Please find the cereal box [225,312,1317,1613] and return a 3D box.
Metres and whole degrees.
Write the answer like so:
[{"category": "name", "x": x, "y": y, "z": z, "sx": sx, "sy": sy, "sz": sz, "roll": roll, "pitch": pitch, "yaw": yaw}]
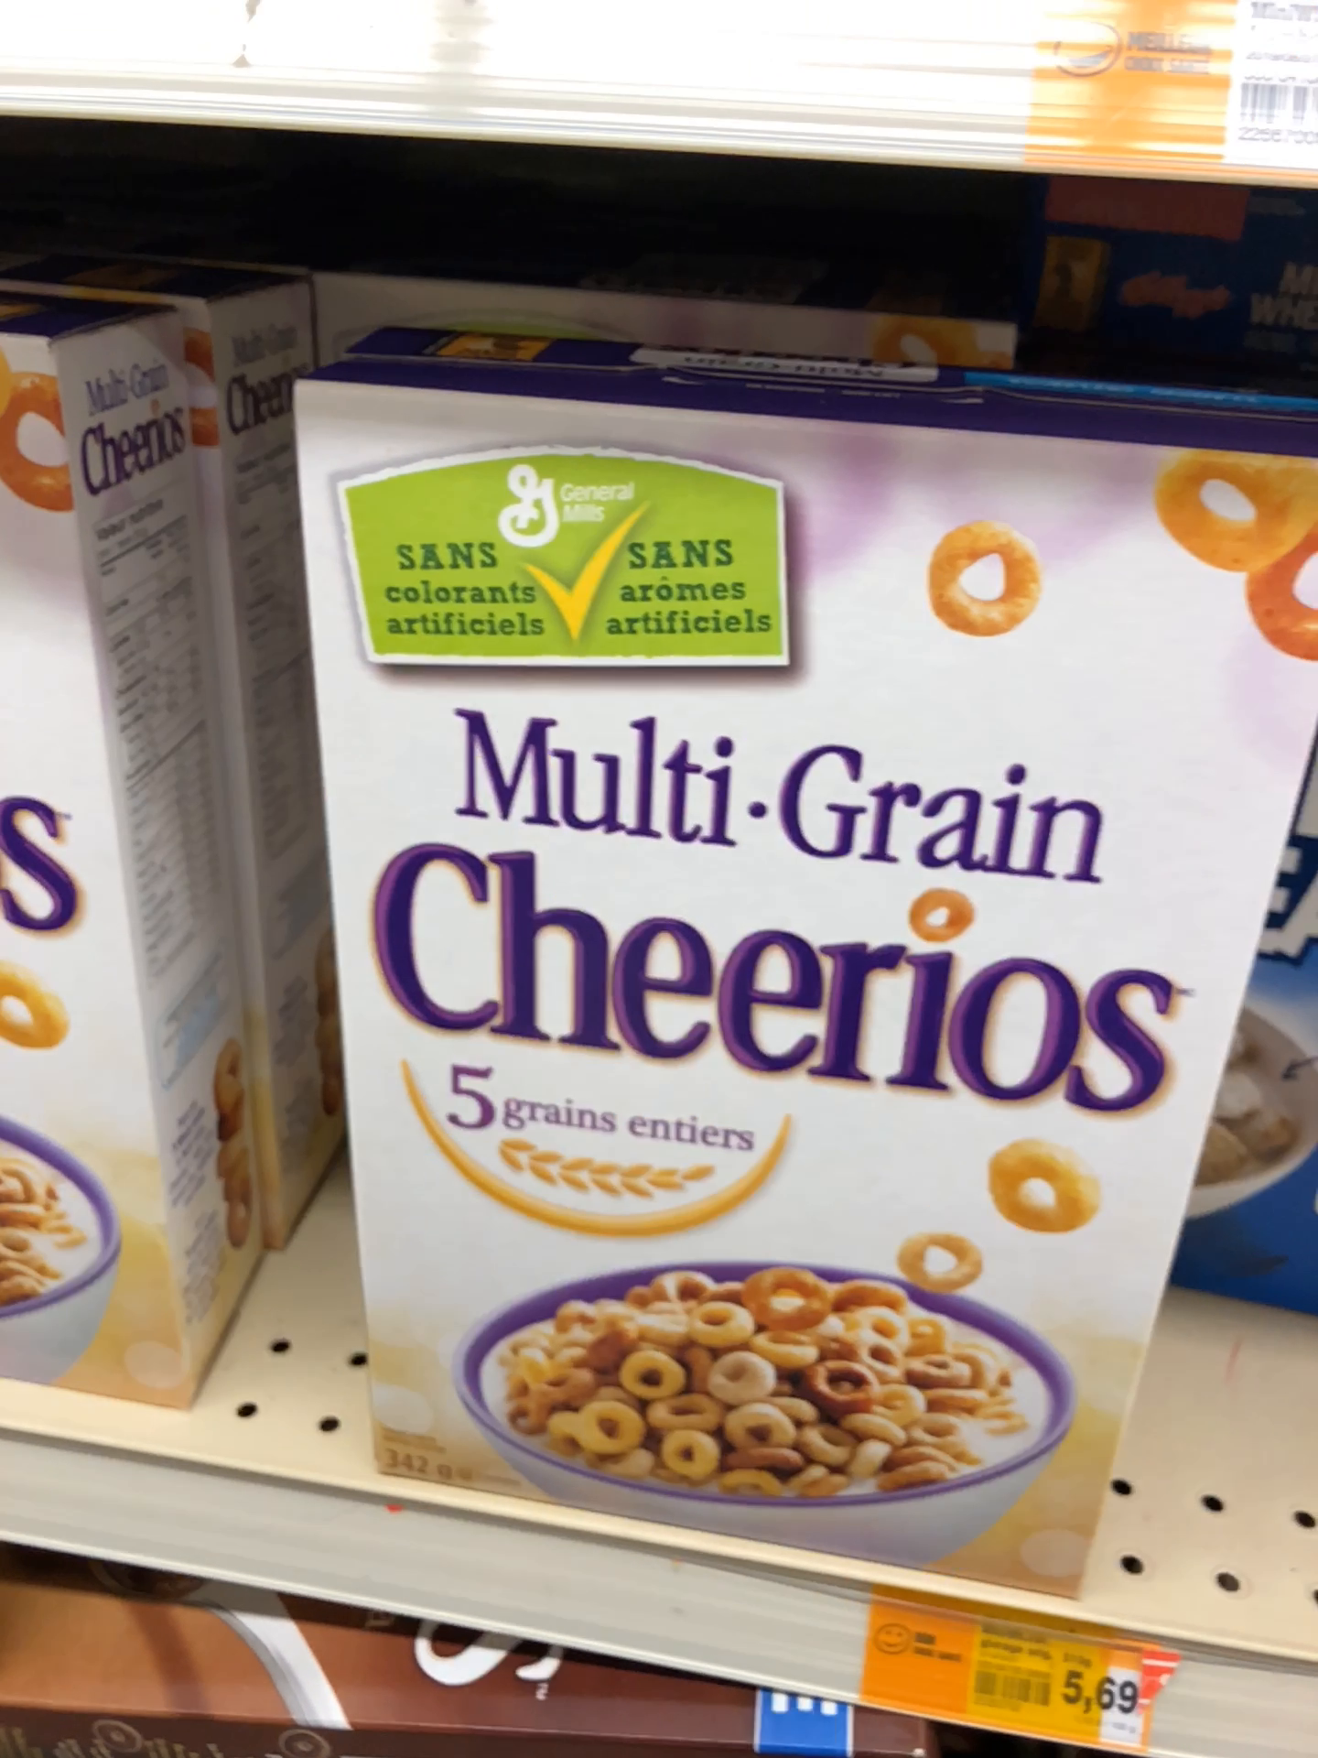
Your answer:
[{"category": "cereal box", "x": 0.022, "y": 0.031, "z": 0.334, "sx": 0.200, "sy": 0.278, "sz": 0.060, "roll": 7, "pitch": 29, "yaw": 8}]
